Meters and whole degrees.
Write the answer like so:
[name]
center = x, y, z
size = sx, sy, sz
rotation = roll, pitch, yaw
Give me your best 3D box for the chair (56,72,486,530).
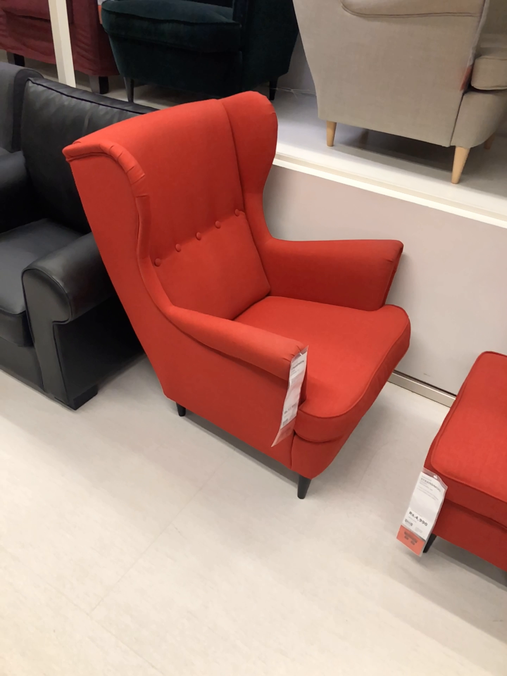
[chair]
center = 0.076, -0.203, 1.802
size = 0.841, 0.973, 0.905
rotation = 23, 40, 23
